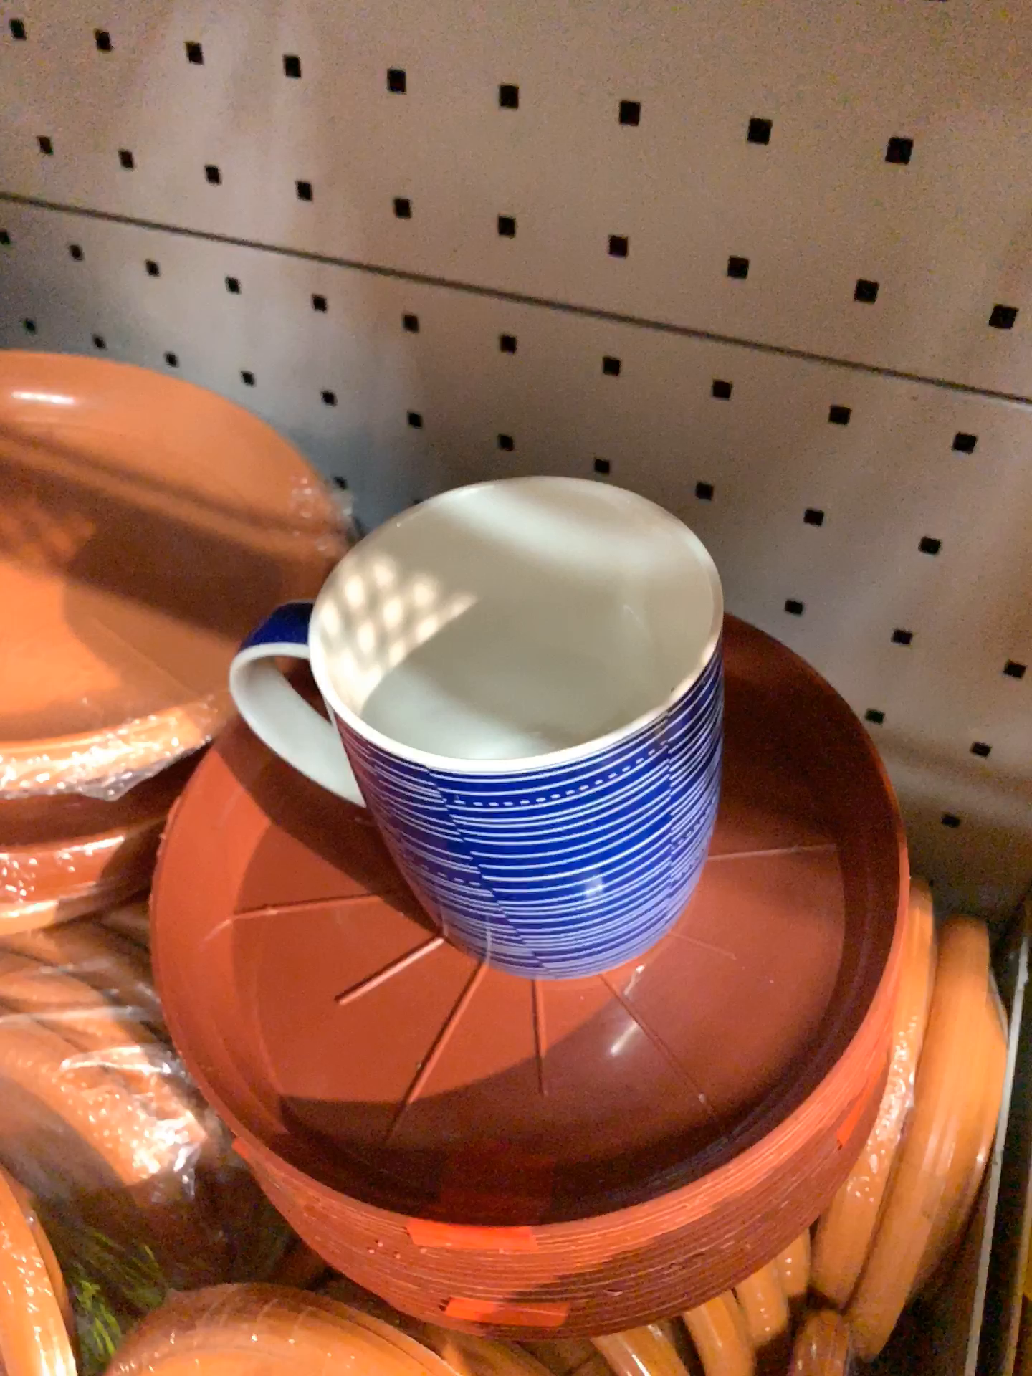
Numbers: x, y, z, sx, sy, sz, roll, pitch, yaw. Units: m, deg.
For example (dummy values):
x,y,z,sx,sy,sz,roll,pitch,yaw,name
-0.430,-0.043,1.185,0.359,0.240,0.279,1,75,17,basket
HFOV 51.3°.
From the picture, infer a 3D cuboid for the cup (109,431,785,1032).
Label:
x,y,z,sx,sy,sz,roll,pitch,yaw,name
-0.004,0.007,0.273,0.130,0.100,0.100,5,46,12,cup
